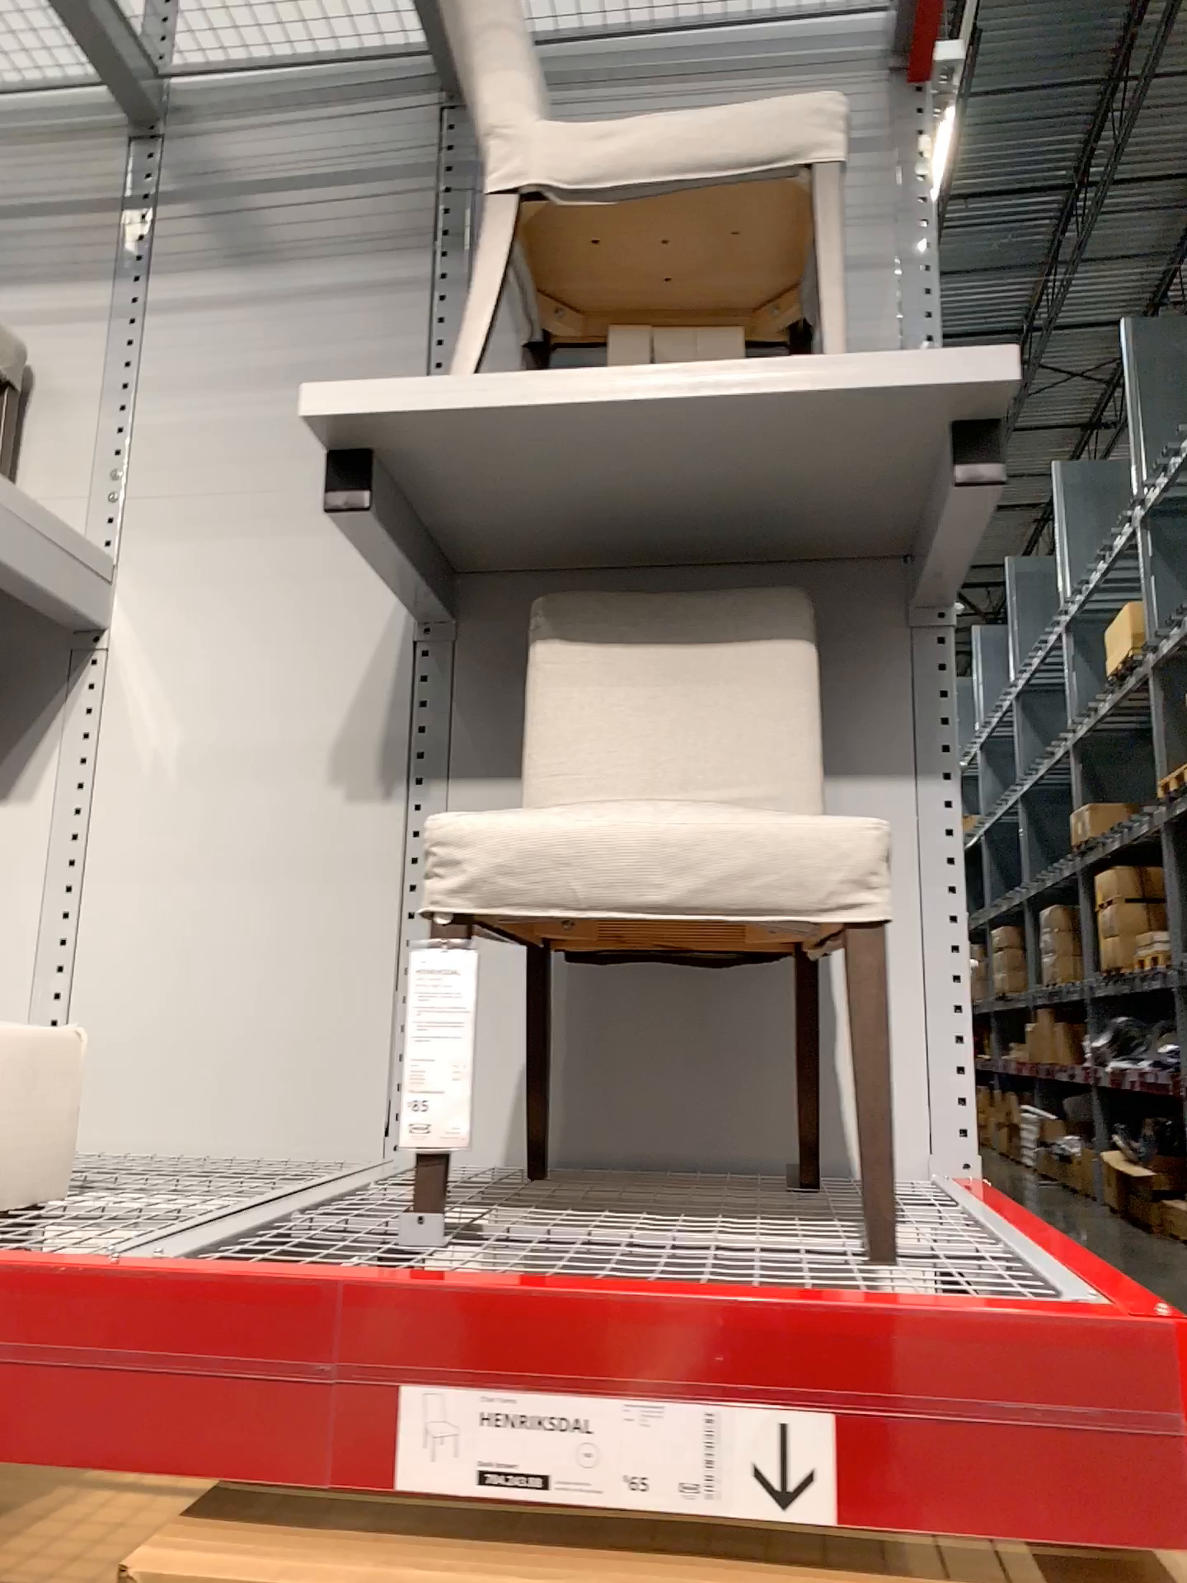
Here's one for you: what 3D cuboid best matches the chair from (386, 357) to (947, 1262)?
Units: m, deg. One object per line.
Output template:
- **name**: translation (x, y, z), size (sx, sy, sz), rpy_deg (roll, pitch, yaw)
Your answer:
- **chair**: translation (0.106, 0.047, 1.640), size (0.560, 0.983, 0.668), rpy_deg (0, -12, 5)
